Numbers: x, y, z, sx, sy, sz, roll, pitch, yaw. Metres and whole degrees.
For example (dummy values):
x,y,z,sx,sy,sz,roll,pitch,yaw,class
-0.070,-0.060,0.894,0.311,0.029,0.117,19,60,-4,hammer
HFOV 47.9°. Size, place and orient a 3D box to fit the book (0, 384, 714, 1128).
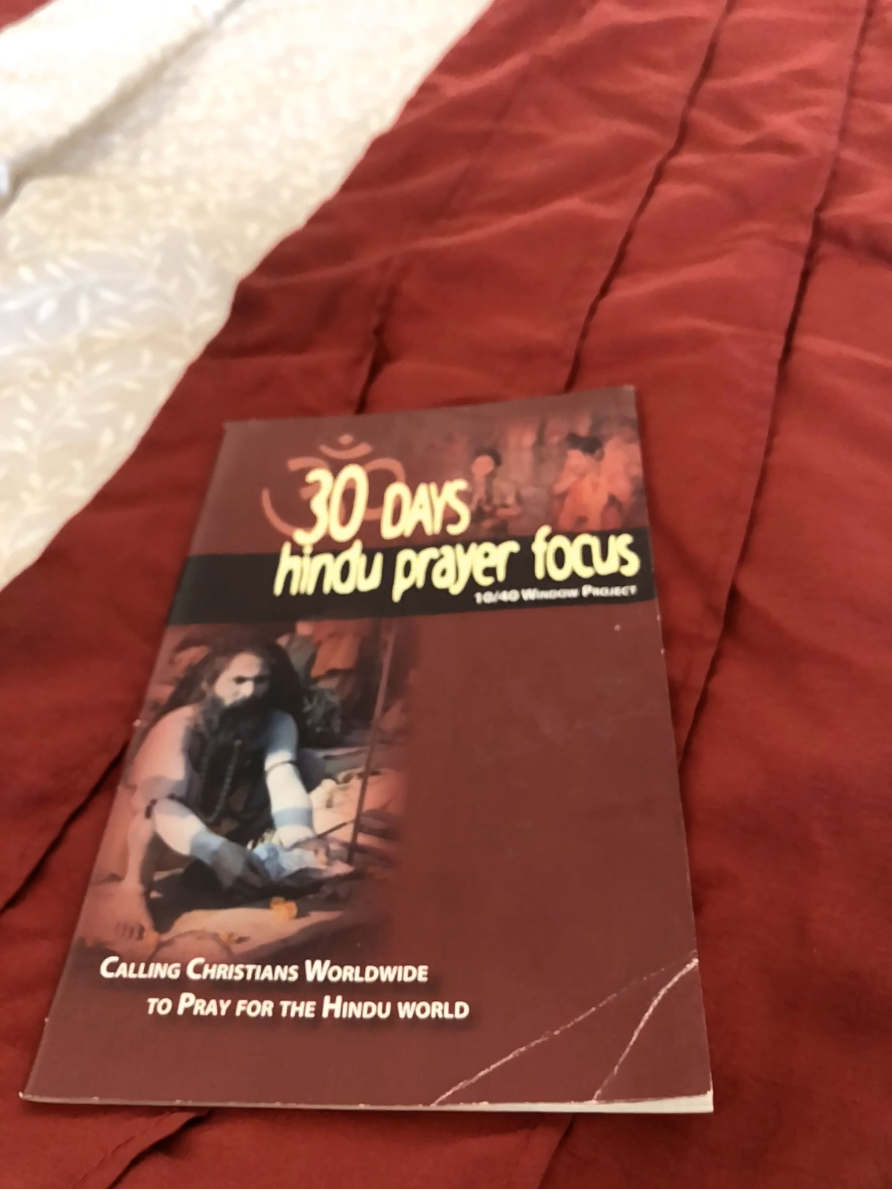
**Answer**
x,y,z,sx,sy,sz,roll,pitch,yaw,class
-0.016,0.019,0.262,0.141,0.010,0.211,-2,50,7,book
